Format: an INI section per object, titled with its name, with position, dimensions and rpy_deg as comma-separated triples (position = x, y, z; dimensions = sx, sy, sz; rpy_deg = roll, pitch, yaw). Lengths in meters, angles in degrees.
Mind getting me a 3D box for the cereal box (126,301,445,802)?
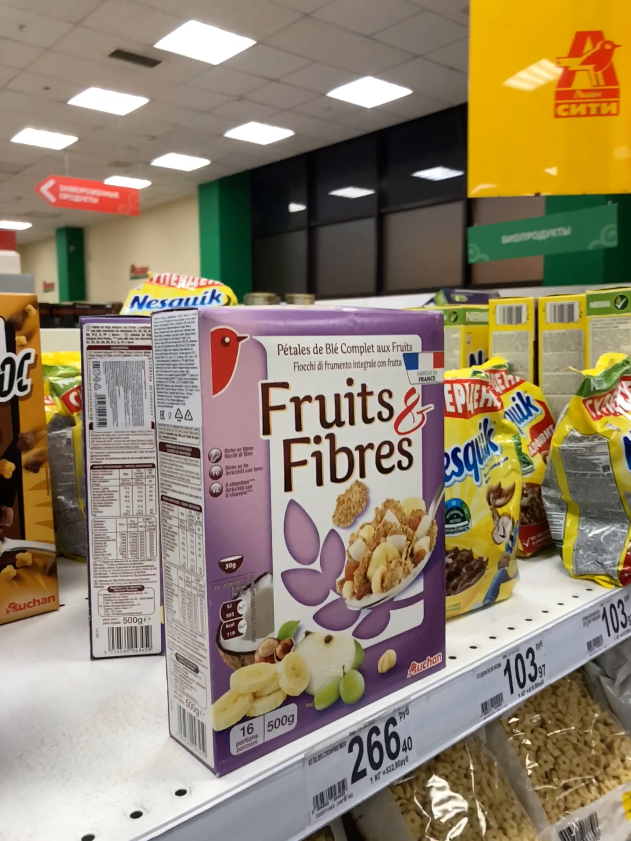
[cereal box]
position = -0.007, 0.060, 0.441
dimensions = 0.200, 0.260, 0.060
rpy_deg = -6, 7, -40
